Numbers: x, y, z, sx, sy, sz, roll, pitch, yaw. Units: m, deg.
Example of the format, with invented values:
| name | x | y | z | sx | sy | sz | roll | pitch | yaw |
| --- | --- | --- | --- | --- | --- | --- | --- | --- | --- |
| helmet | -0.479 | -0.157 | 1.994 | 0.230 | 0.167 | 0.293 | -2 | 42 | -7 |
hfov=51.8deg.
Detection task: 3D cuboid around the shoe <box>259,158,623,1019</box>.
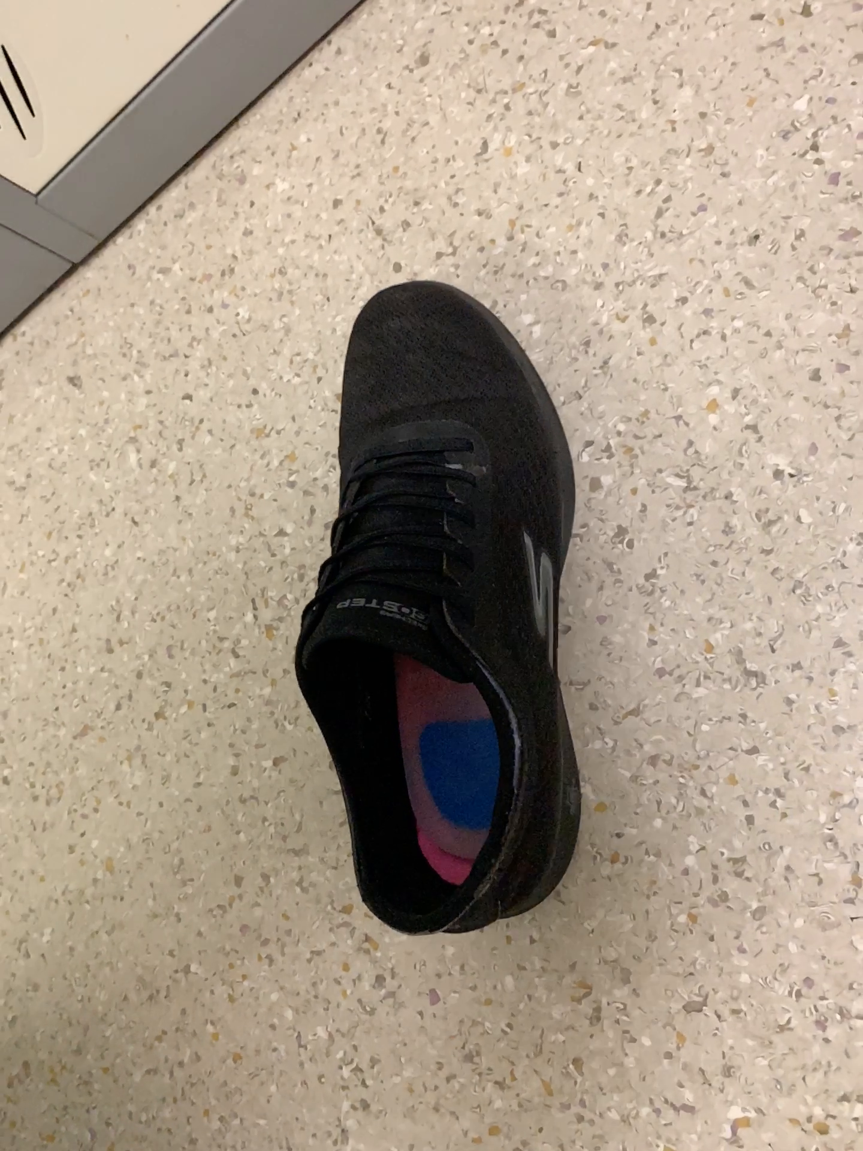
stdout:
| name | x | y | z | sx | sy | sz | roll | pitch | yaw |
| --- | --- | --- | --- | --- | --- | --- | --- | --- | --- |
| shoe | 0.005 | 0.004 | 0.353 | 0.104 | 0.100 | 0.280 | -5 | 82 | 25 |
